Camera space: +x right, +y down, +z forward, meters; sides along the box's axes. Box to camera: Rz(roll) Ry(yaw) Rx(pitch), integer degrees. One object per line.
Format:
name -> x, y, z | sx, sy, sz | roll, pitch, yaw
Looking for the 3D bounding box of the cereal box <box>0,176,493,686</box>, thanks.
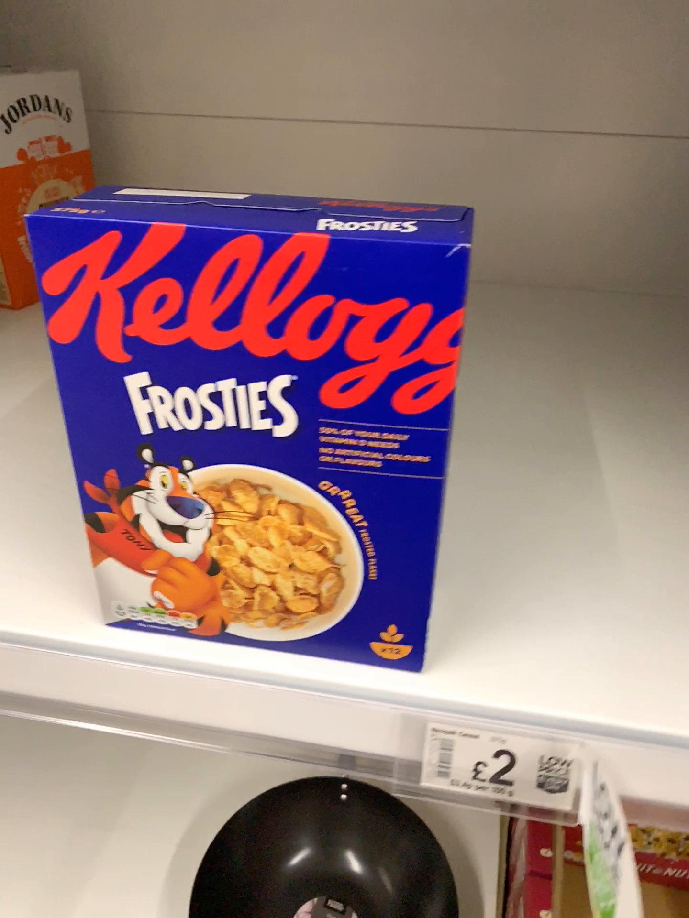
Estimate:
cereal box -> -0.039, -0.010, 0.374 | 0.200, 0.238, 0.081 | 6, 32, 8
